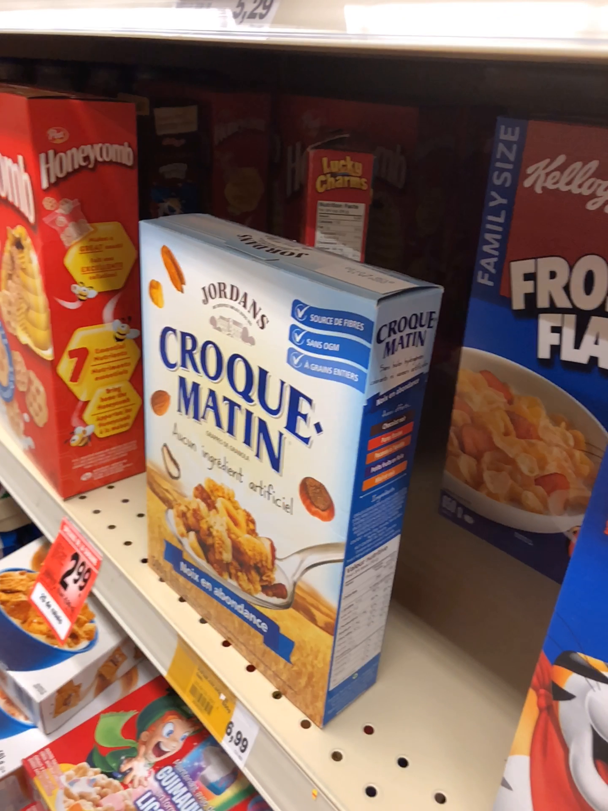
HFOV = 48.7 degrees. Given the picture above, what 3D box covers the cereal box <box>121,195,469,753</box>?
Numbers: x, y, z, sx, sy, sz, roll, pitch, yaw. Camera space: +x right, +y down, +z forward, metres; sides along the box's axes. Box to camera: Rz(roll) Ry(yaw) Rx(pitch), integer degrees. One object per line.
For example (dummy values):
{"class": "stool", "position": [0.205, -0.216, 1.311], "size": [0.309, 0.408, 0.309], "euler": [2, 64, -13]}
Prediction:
{"class": "cereal box", "position": [-0.025, 0.030, 0.389], "size": [0.050, 0.258, 0.201], "euler": [-20, 35, -40]}
